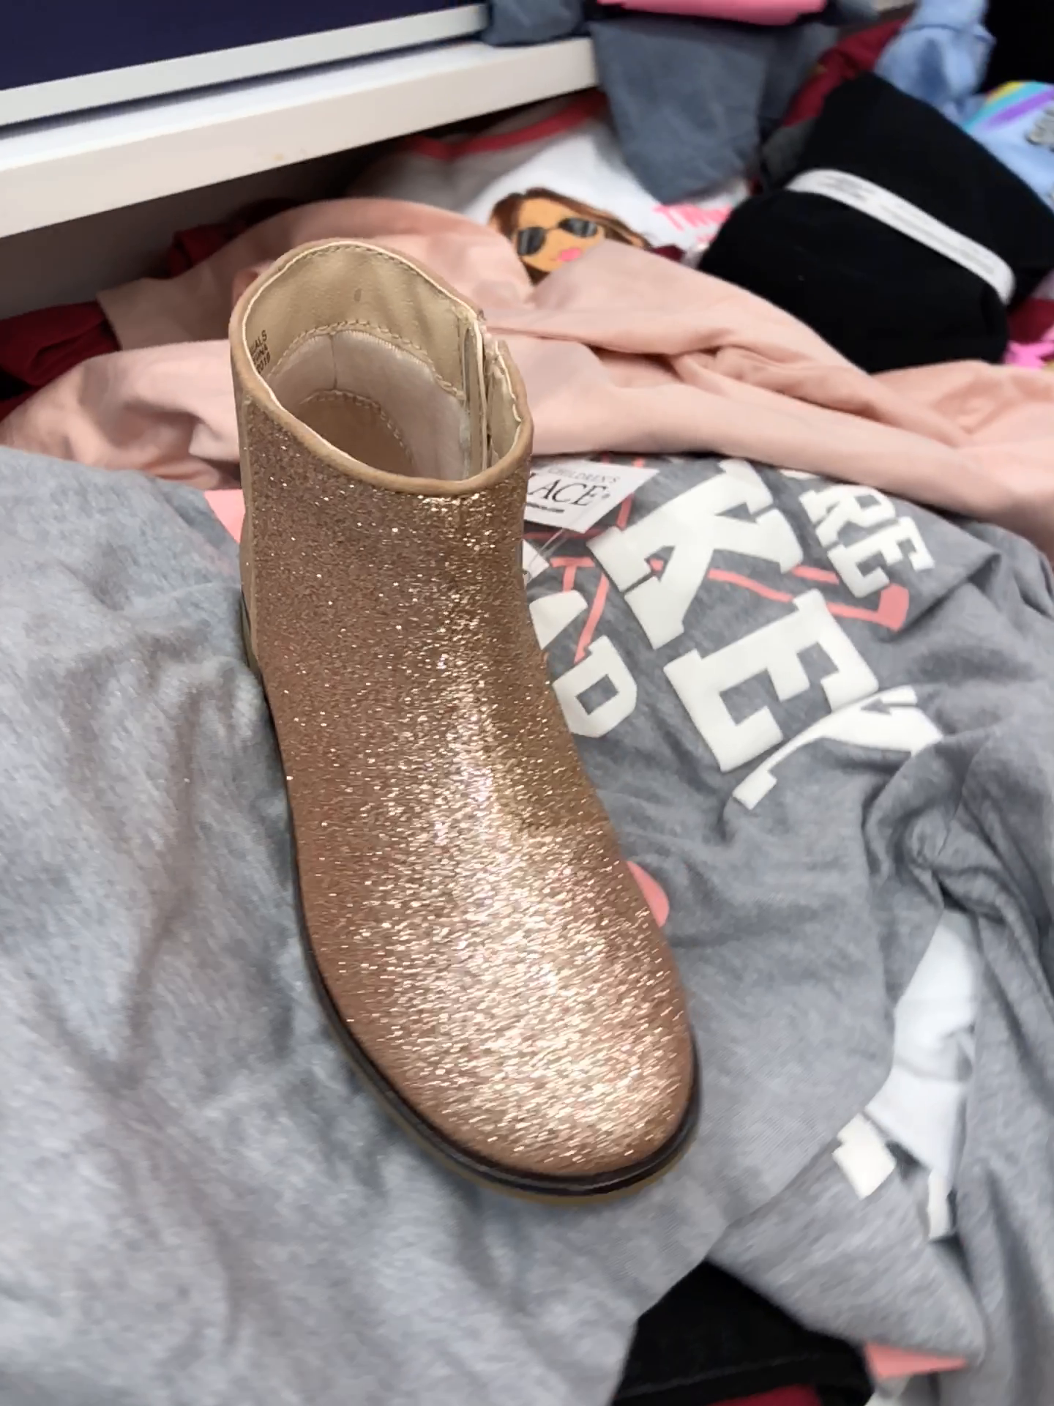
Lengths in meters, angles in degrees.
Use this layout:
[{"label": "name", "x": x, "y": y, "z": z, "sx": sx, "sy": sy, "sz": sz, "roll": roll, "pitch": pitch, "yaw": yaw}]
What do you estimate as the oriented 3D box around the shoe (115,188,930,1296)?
[{"label": "shoe", "x": -0.026, "y": -0.018, "z": 0.279, "sx": 0.083, "sy": 0.130, "sz": 0.238, "roll": -14, "pitch": 41, "yaw": -17}]
